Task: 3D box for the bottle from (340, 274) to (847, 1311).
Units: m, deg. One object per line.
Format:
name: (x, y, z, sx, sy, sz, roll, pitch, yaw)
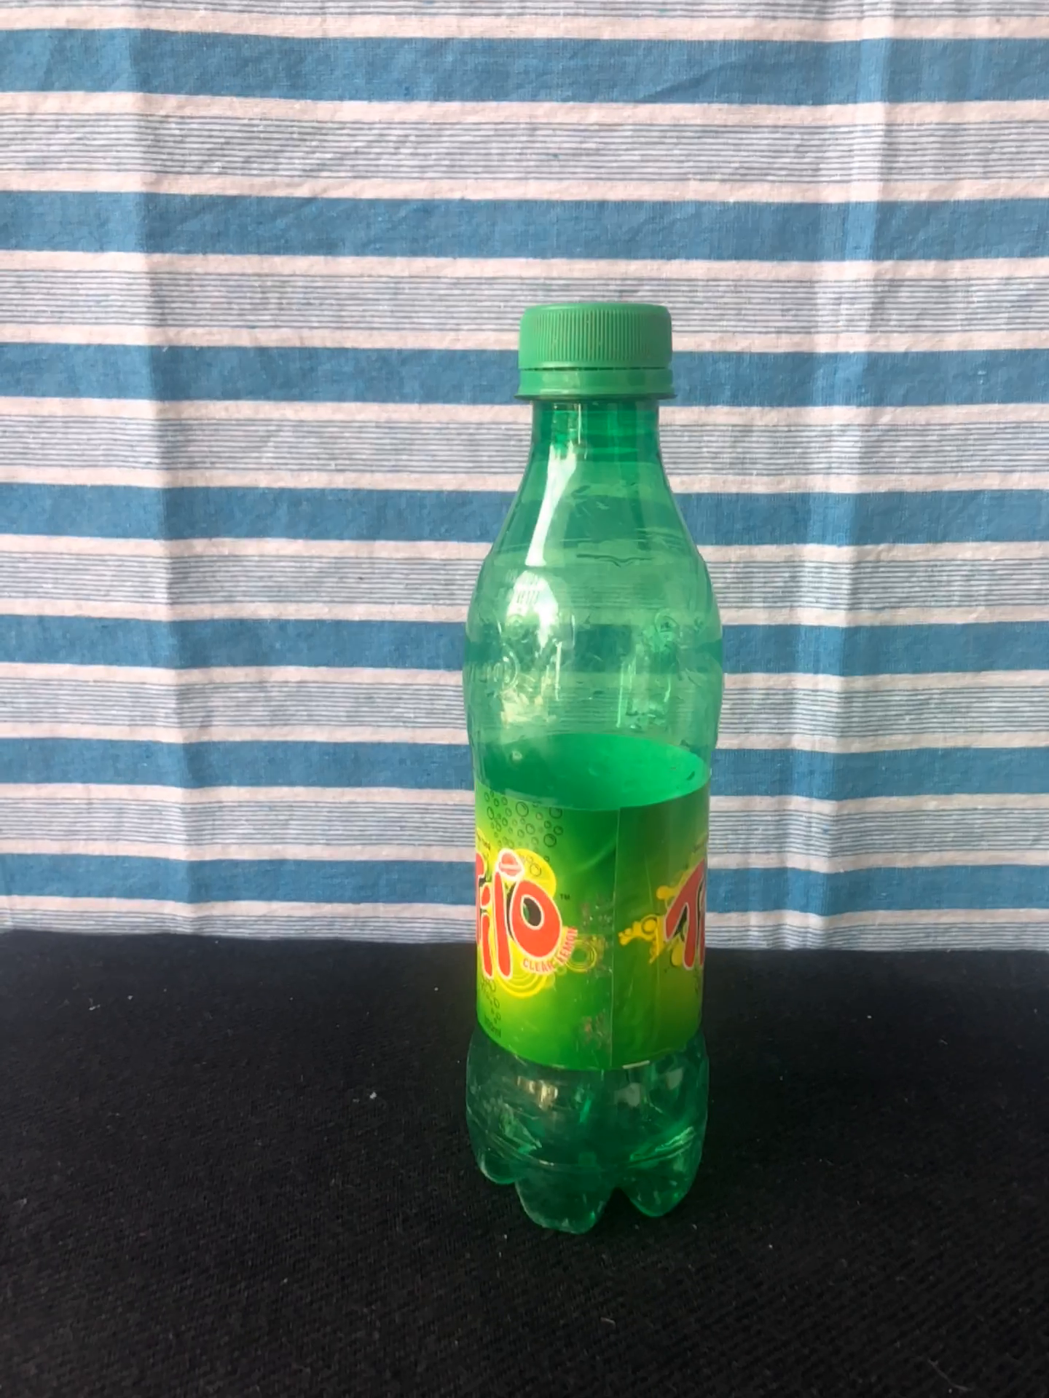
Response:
bottle: (0.010, 0.015, 0.257, 0.070, 0.199, 0.070, 3, 16, -1)
